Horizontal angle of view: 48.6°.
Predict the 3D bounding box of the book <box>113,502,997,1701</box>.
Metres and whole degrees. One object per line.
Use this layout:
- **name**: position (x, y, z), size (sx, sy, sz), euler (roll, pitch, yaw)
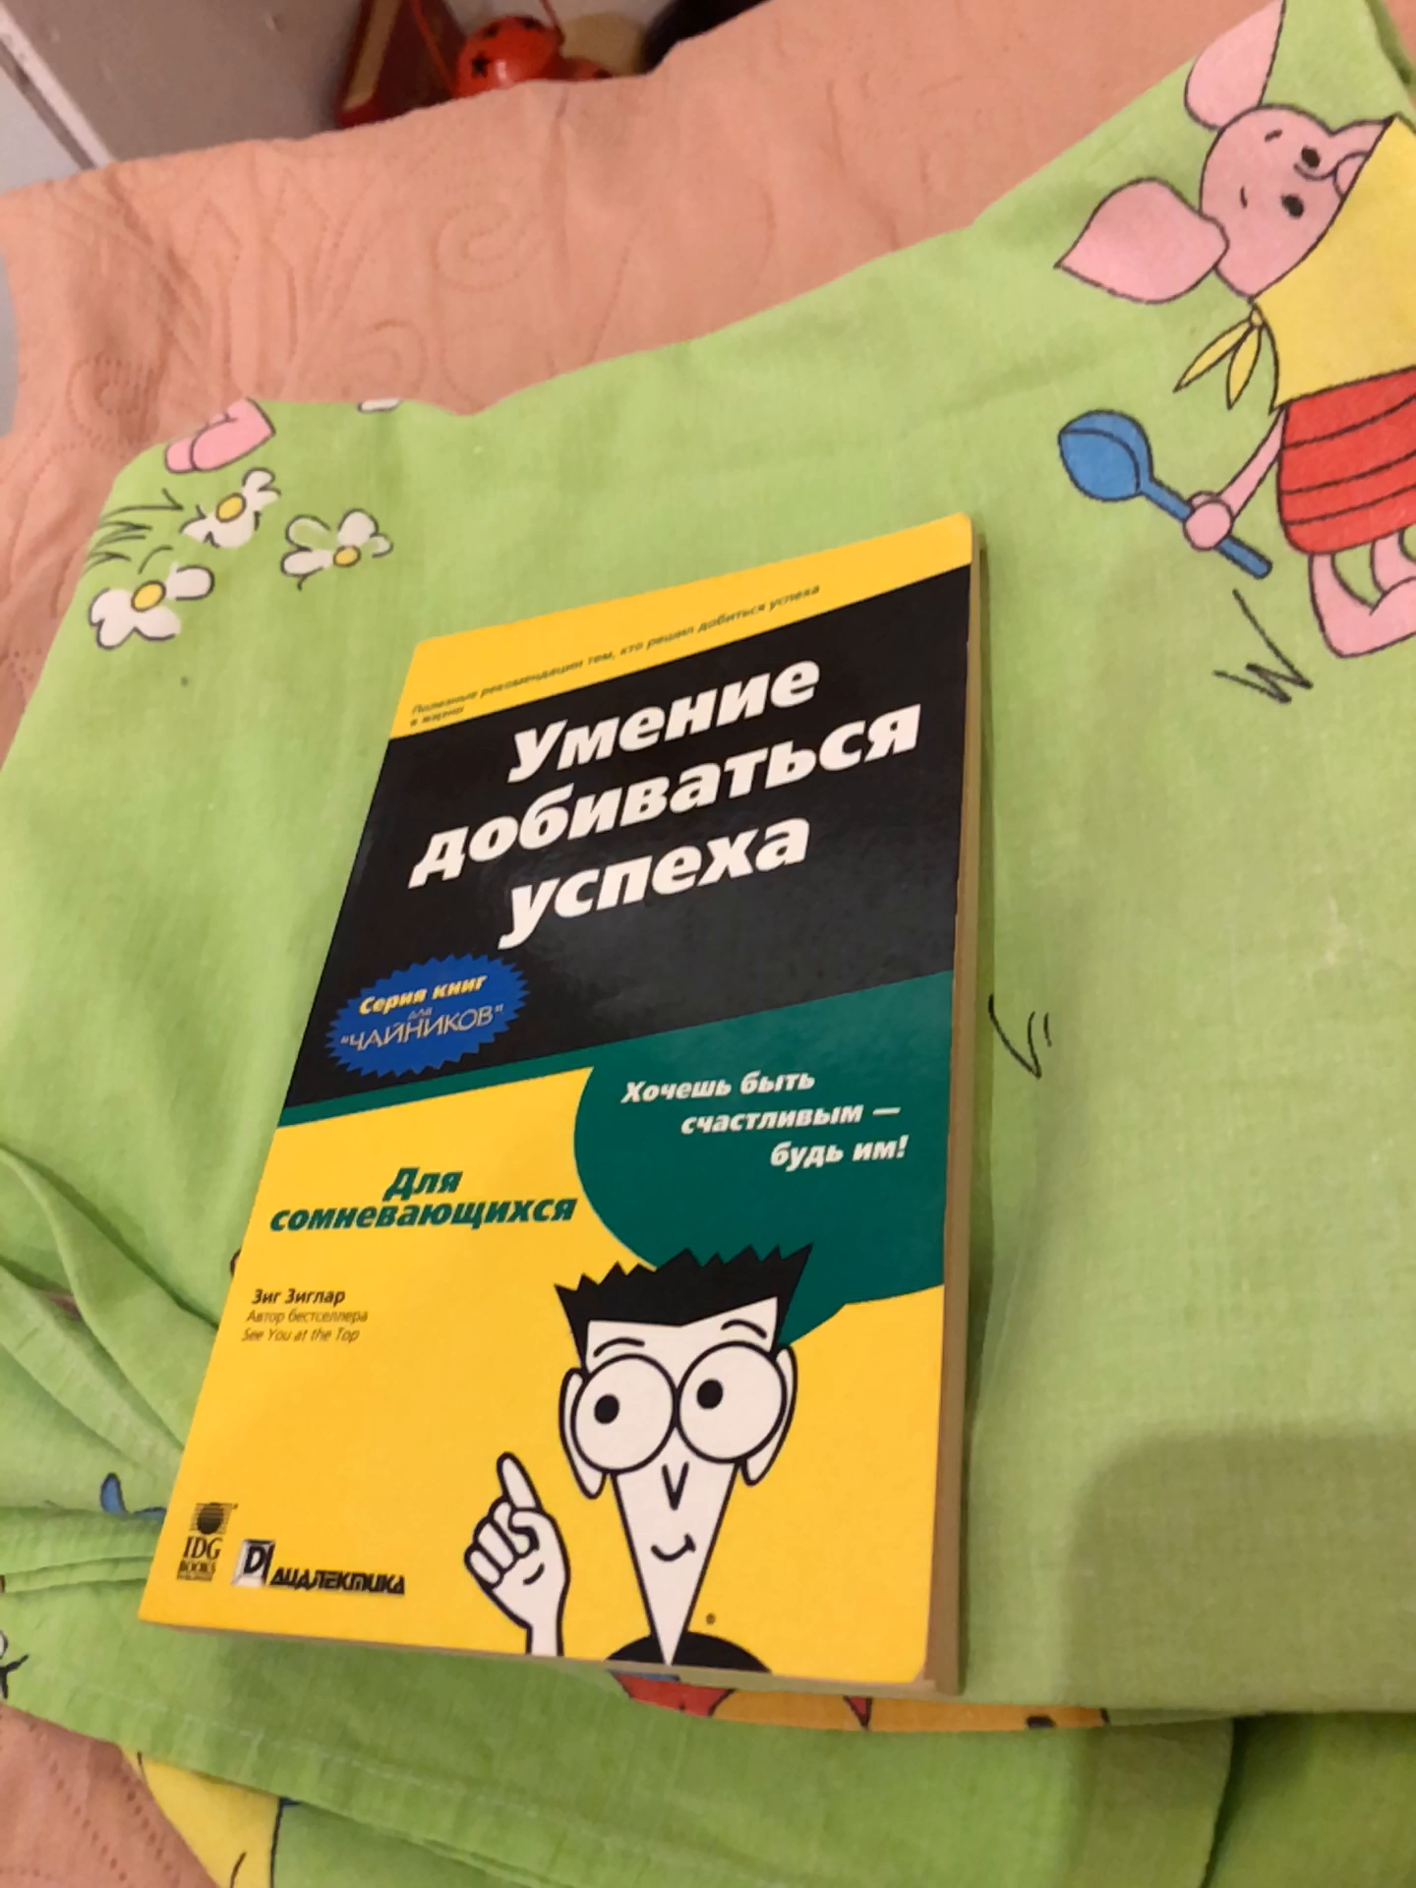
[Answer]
- **book**: position (-0.017, 0.014, 0.261), size (0.125, 0.015, 0.192), euler (-7, 56, 24)
